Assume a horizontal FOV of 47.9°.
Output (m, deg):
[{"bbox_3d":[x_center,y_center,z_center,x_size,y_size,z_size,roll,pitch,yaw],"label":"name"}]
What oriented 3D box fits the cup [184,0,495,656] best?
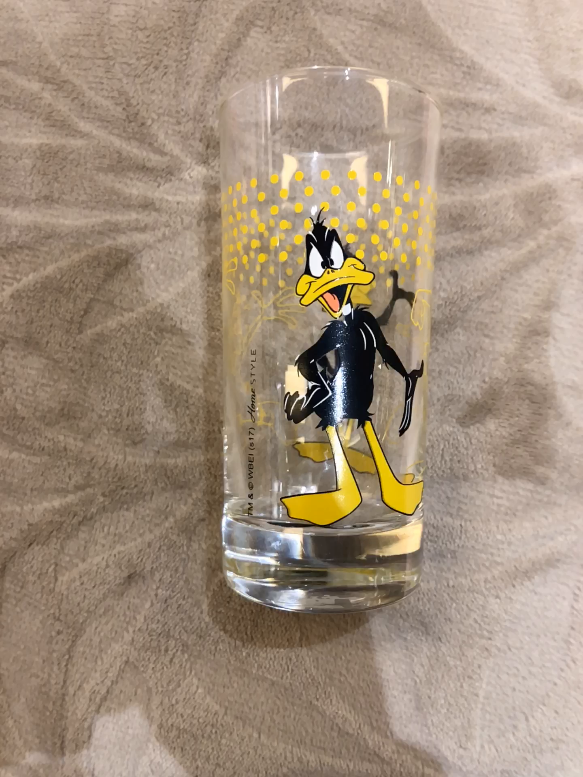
[{"bbox_3d":[0.010,-0.016,0.191,0.070,0.070,0.160,0,84,-1],"label":"cup"}]
